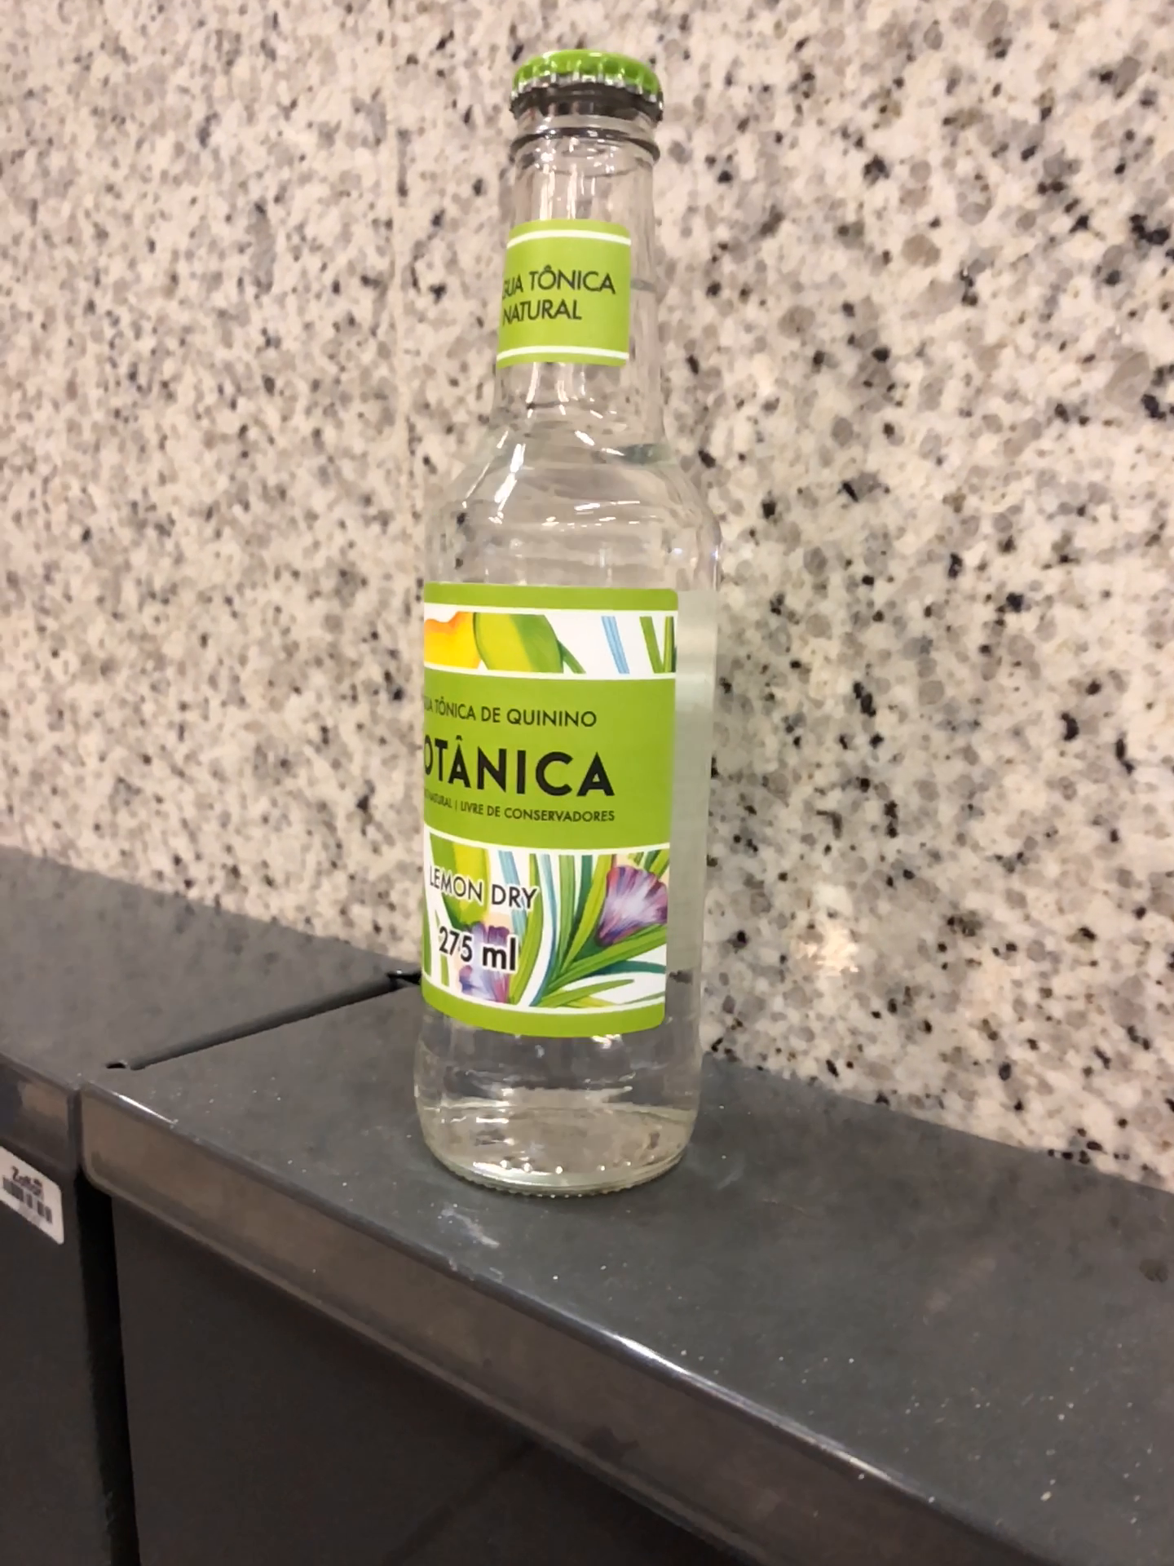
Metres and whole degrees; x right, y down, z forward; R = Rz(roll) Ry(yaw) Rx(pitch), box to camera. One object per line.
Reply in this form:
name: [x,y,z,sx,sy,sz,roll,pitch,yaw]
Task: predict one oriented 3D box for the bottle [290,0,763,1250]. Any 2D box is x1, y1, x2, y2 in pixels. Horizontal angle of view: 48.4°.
bottle: [-0.008,-0.029,0.251,0.060,0.209,0.060,-1,10,0]
